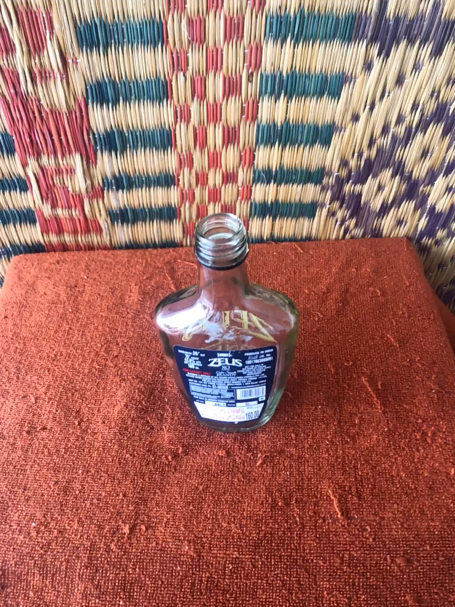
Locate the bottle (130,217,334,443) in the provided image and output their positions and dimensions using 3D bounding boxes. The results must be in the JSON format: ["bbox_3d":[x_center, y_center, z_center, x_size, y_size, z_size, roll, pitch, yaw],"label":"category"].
[{"bbox_3d":[0.004,0.025,0.270,0.080,0.149,0.040,-1,51,1],"label":"bottle"}]
